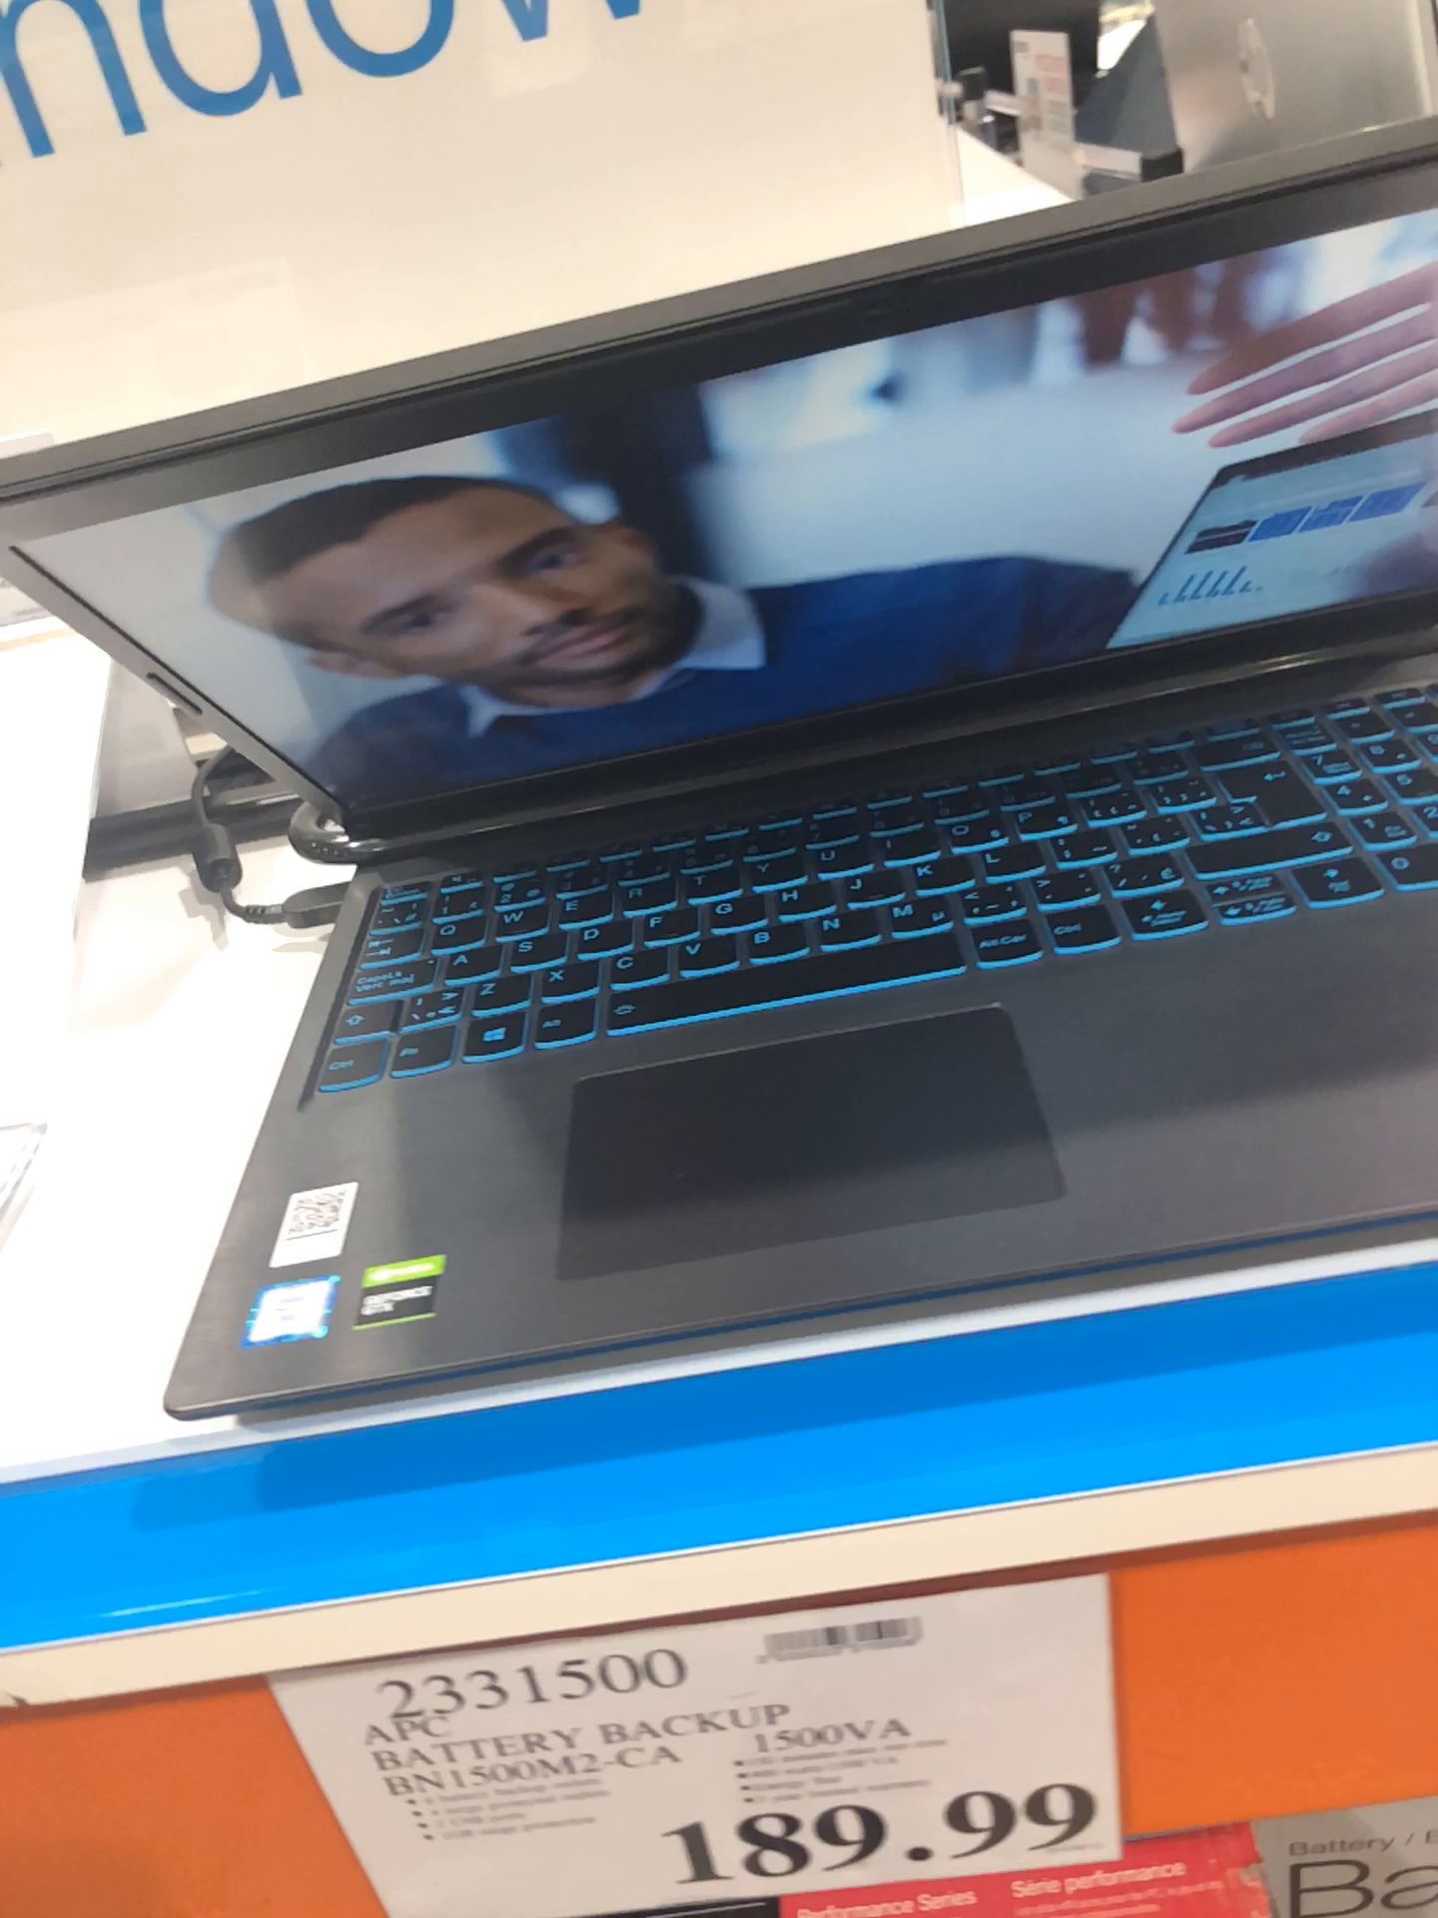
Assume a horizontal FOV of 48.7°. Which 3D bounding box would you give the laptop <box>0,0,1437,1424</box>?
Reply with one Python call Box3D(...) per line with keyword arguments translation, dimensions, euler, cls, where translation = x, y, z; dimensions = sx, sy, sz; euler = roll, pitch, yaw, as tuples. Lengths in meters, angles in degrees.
Box3D(translation=(0.044, -0.075, 0.358), dimensions=(0.344, 0.170, 0.242), euler=(-11, 32, 5), cls="laptop")
